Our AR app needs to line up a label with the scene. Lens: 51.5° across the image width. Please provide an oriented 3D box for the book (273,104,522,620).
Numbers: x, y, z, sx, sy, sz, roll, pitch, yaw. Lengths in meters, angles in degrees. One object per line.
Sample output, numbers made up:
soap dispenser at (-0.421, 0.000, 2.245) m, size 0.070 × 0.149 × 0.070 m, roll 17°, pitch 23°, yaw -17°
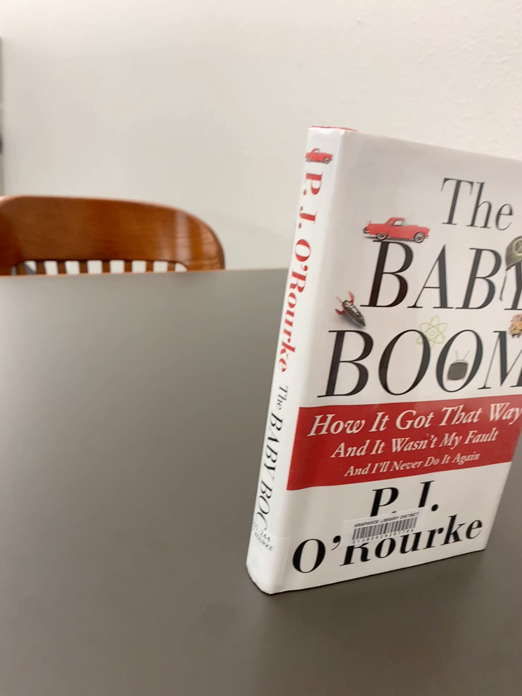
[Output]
book at (0.099, 0.016, 0.272) m, size 0.160 × 0.231 × 0.030 m, roll -1°, pitch 19°, yaw -23°
